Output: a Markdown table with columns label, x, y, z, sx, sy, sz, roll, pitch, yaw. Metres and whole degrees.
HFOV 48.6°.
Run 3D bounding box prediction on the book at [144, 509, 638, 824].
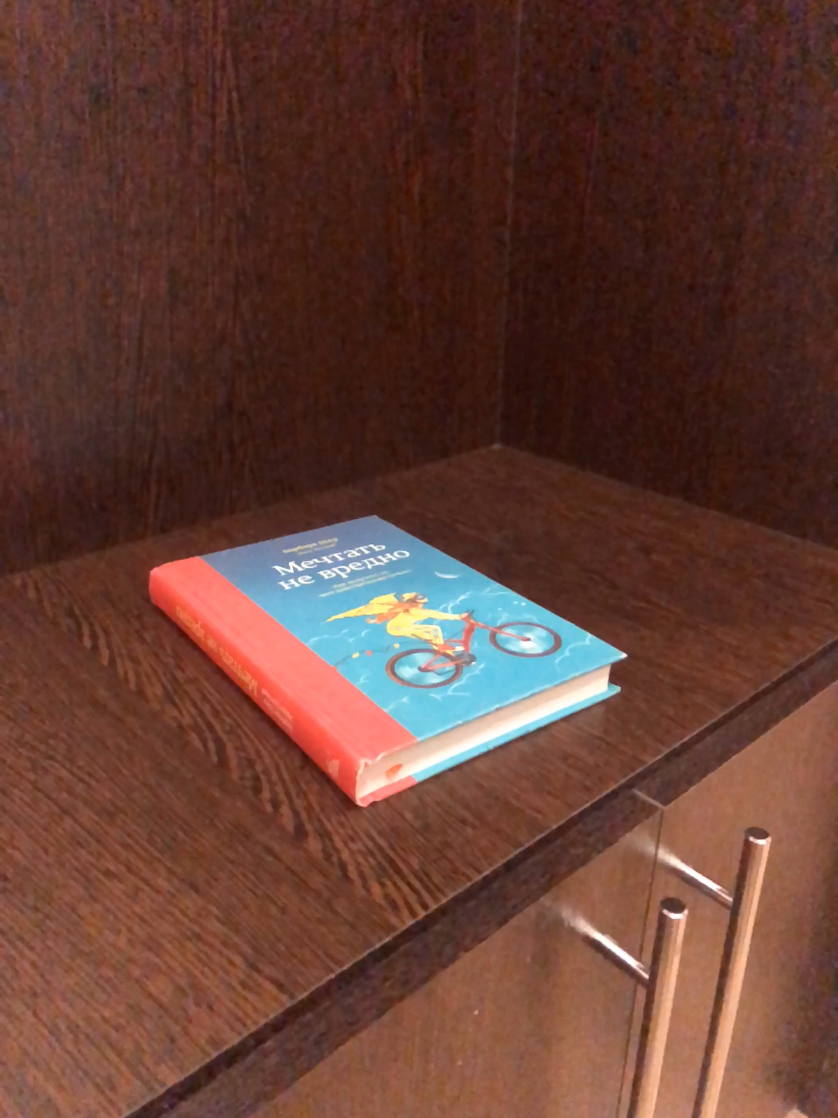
| label | x | y | z | sx | sy | sz | roll | pitch | yaw |
| --- | --- | --- | --- | --- | --- | --- | --- | --- | --- |
| book | -0.024 | 0.034 | 0.455 | 0.145 | 0.025 | 0.211 | -16 | 29 | -33 |
